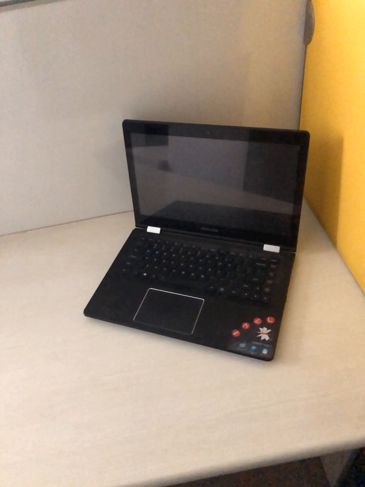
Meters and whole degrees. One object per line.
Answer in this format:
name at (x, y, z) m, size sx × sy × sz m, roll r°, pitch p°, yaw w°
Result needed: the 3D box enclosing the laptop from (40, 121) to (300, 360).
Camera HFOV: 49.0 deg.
laptop at (0.007, -0.023, 0.658) m, size 0.311 × 0.225 × 0.265 m, roll 10°, pitch 47°, yaw 19°
